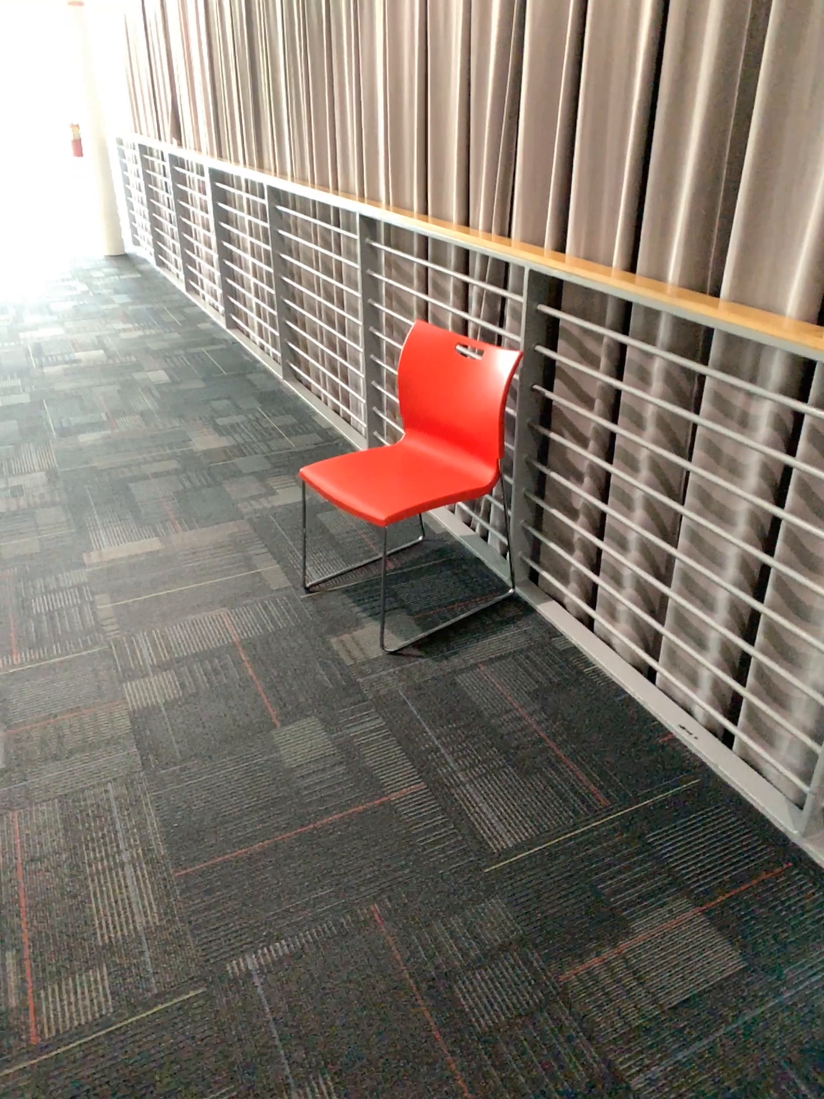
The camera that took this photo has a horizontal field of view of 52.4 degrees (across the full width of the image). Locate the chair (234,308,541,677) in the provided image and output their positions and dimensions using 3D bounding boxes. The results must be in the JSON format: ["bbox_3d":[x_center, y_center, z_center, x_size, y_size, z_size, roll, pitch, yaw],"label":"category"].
[{"bbox_3d":[-0.063,-0.220,2.677,0.661,0.855,0.633,-23,36,-30],"label":"chair"}]
